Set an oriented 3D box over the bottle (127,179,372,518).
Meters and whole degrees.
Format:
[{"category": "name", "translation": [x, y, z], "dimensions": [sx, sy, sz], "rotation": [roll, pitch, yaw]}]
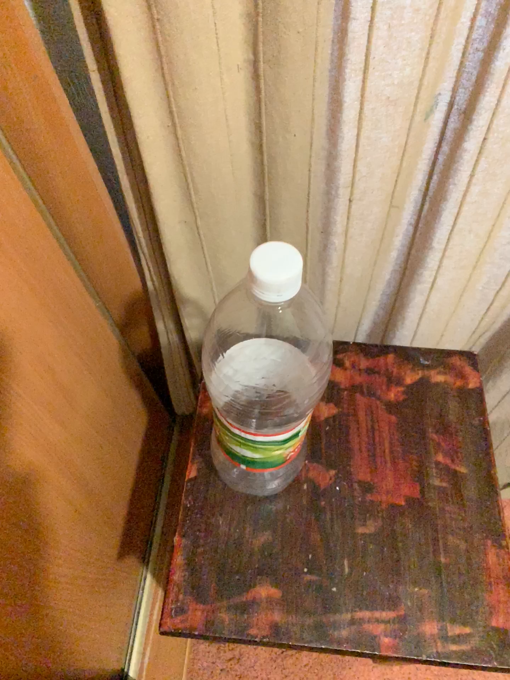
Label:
[{"category": "bottle", "translation": [0.003, 0.040, 0.414], "dimensions": [0.100, 0.318, 0.101], "rotation": [-1, 60, 1]}]
